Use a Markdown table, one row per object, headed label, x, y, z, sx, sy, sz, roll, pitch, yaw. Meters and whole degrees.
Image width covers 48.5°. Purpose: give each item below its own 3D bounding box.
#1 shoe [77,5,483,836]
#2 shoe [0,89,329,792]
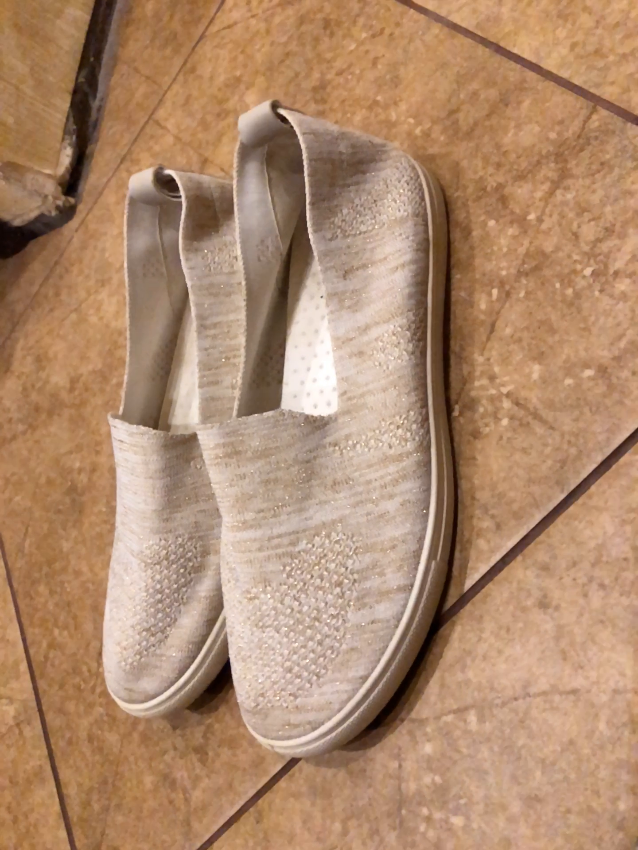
| label | x | y | z | sx | sy | sz | roll | pitch | yaw |
| --- | --- | --- | --- | --- | --- | --- | --- | --- | --- |
| shoe | -0.007 | -0.006 | 0.274 | 0.100 | 0.080 | 0.260 | -6 | 71 | 40 |
| shoe | -0.079 | 0.003 | 0.303 | 0.090 | 0.080 | 0.250 | 3 | 77 | 42 |
